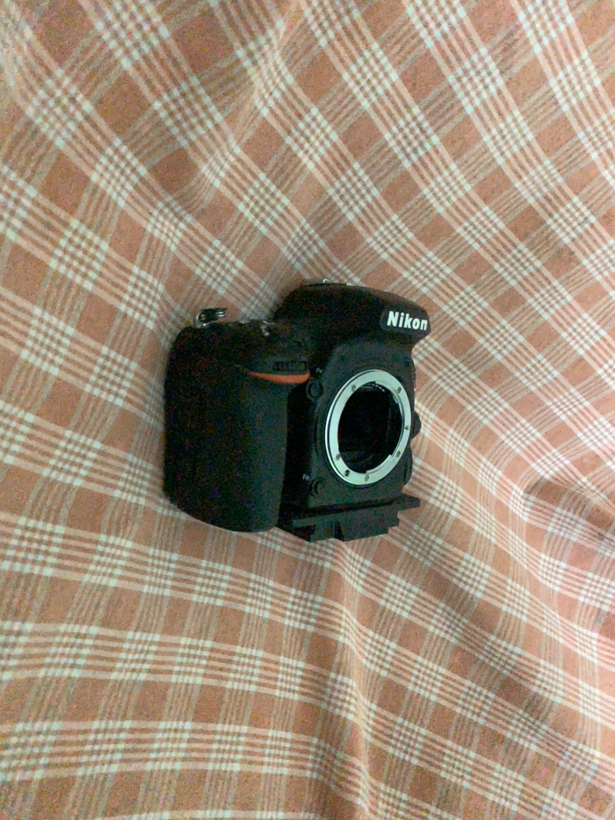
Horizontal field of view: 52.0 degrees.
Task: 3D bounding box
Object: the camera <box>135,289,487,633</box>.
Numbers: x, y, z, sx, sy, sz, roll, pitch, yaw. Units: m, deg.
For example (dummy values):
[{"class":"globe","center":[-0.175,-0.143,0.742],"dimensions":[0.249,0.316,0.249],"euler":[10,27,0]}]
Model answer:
[{"class":"camera","center":[0.005,0.011,0.305],"dimensions":[0.146,0.085,0.125],"euler":[-4,100,-44]}]
